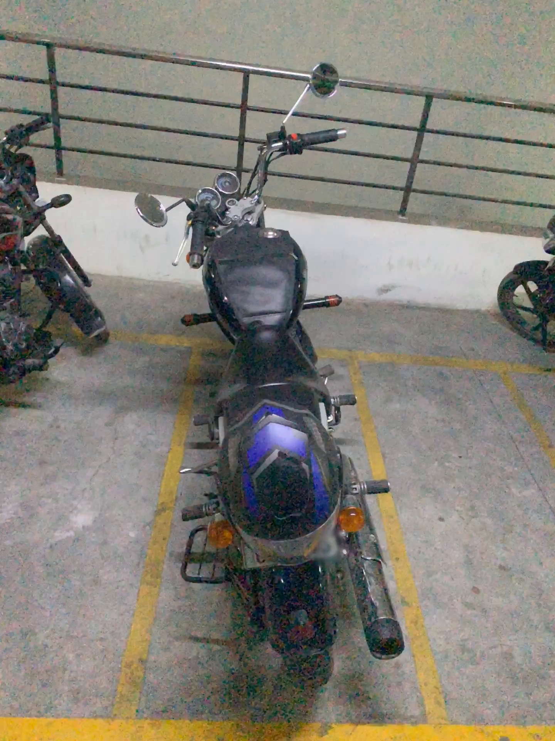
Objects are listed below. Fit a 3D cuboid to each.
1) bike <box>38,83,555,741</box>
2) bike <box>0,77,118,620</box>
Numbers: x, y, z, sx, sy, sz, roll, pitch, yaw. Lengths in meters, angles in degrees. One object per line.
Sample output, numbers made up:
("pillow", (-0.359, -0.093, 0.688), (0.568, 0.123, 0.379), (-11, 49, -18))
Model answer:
("bike", (-0.169, -0.003, 1.798), (0.842, 1.303, 1.673), (-1, 34, -15))
("bike", (-1.200, -0.241, 1.992), (0.593, 1.193, 1.510), (13, 34, 7))
